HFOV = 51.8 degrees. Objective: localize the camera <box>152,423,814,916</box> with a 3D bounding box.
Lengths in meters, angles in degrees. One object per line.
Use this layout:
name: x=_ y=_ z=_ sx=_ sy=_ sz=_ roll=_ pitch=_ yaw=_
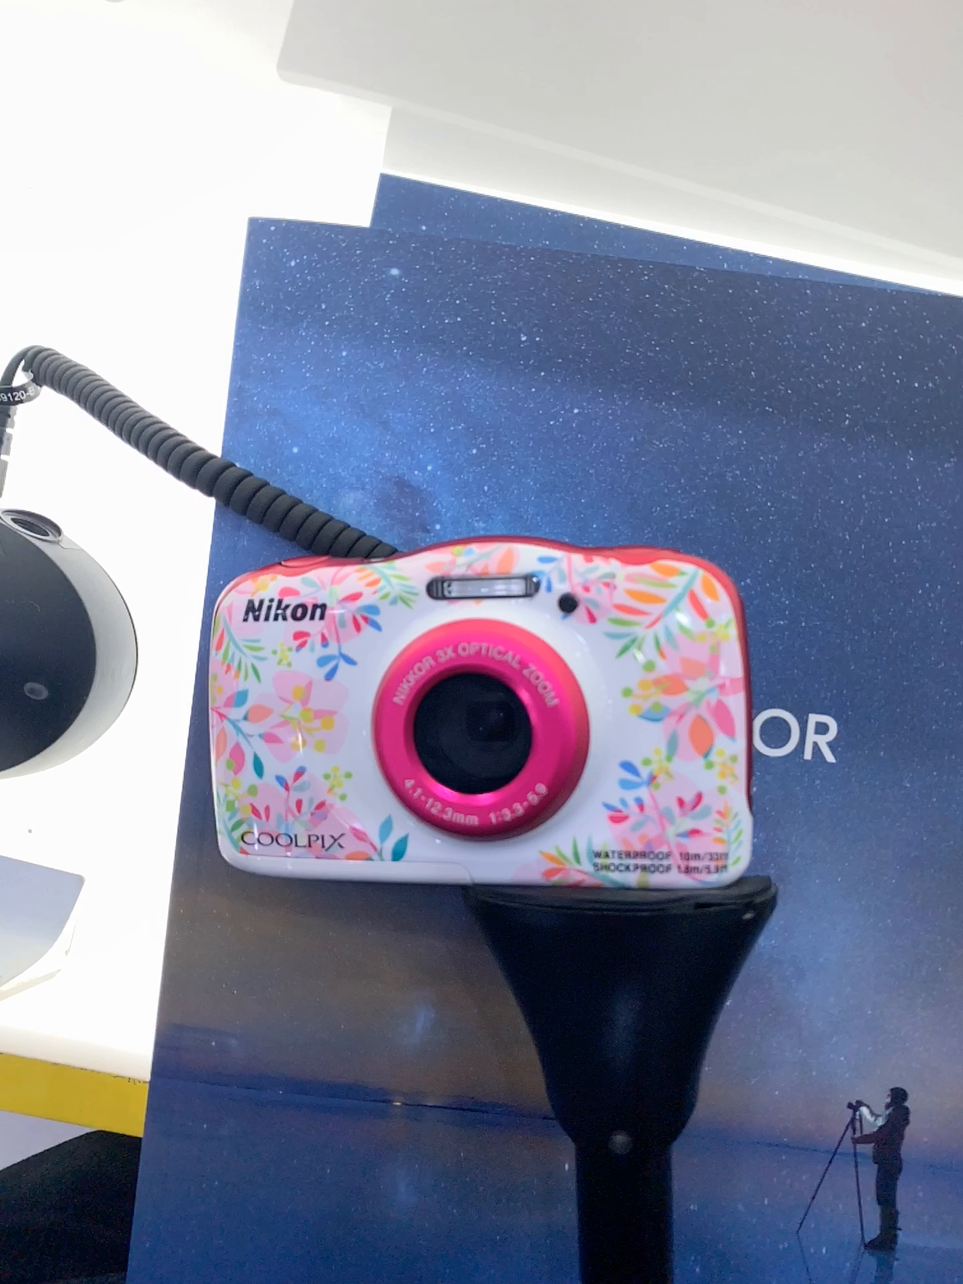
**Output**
camera: x=-0.001 y=0.006 z=0.189 sx=0.110 sy=0.040 sz=0.080 roll=-2 pitch=83 yaw=1
